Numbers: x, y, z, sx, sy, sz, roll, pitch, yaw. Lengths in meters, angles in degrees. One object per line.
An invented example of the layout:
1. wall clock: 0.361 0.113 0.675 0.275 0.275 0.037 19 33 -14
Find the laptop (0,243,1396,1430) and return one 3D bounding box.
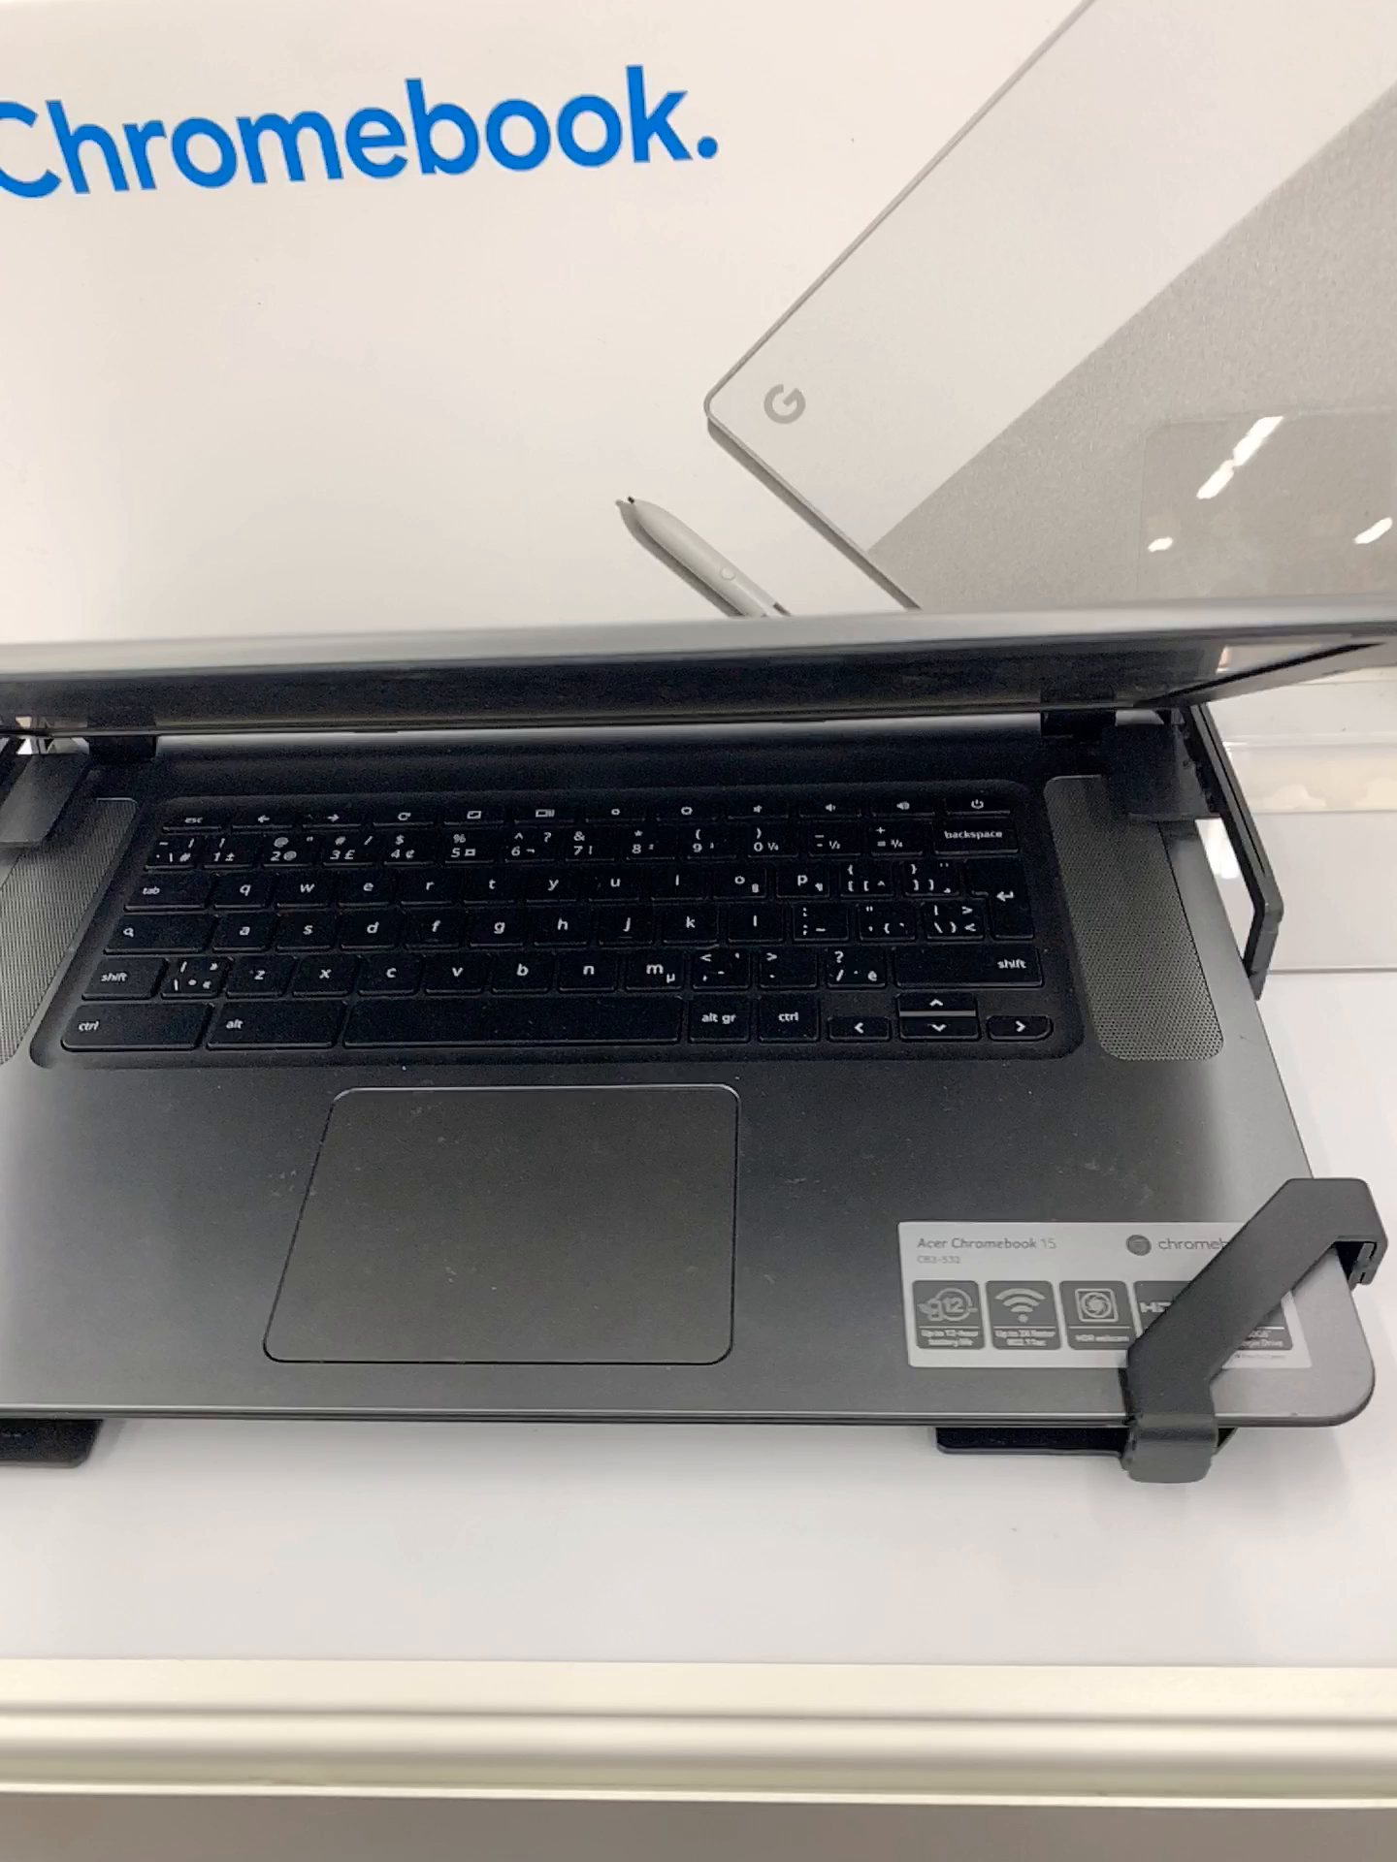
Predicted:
1. laptop: -0.037 -0.028 0.276 0.303 0.119 0.198 -1 43 5
